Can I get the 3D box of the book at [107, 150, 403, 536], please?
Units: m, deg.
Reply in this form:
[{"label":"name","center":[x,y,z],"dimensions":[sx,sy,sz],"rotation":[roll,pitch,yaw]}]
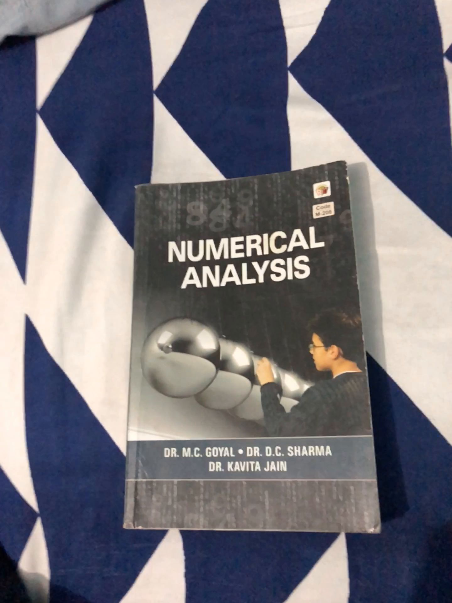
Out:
[{"label":"book","center":[0.011,0.020,0.275],"dimensions":[0.140,0.030,0.190],"rotation":[-4,75,12]}]
